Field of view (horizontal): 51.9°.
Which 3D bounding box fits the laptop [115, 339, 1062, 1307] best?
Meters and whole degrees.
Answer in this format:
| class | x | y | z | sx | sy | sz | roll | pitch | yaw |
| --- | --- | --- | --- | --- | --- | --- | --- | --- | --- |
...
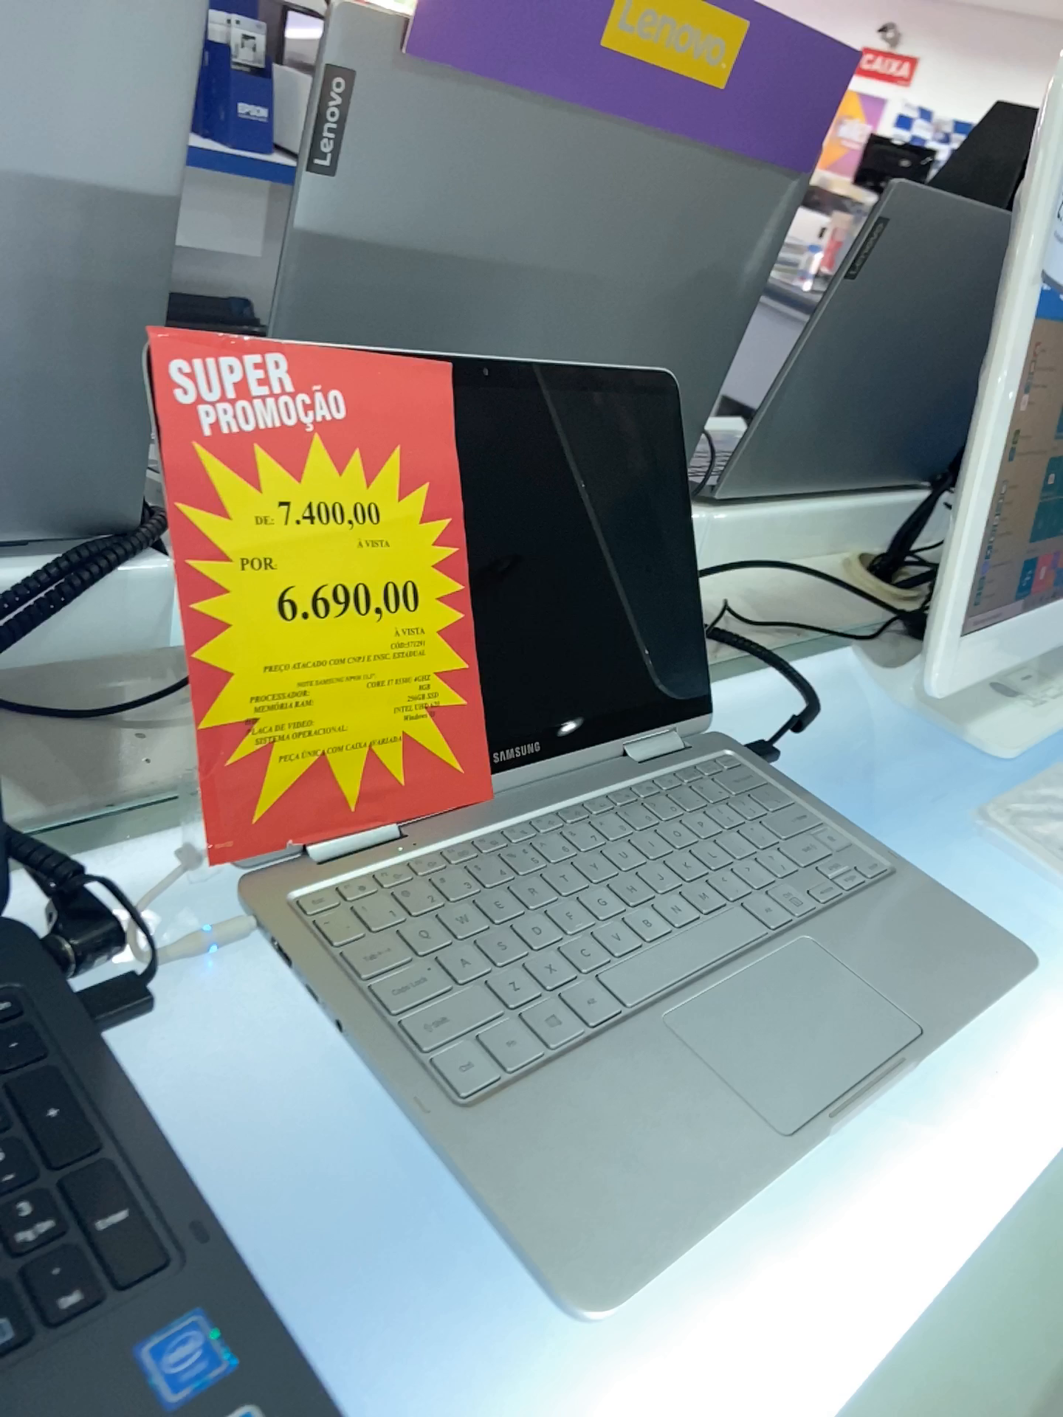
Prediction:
| class | x | y | z | sx | sy | sz | roll | pitch | yaw |
| --- | --- | --- | --- | --- | --- | --- | --- | --- | --- |
| laptop | 0.047 | -0.011 | 0.455 | 0.306 | 0.170 | 0.310 | -13 | 39 | -42 |
